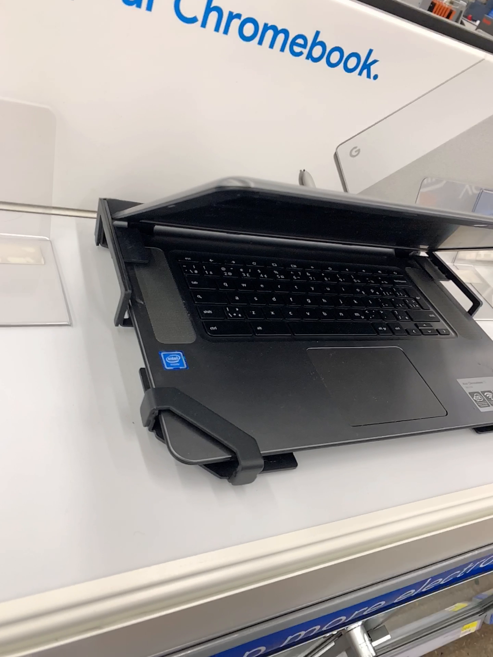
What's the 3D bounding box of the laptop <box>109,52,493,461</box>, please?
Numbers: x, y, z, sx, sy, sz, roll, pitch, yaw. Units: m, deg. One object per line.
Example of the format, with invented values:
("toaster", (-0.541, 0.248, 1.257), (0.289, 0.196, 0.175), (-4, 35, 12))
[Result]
("laptop", (0.086, -0.047, 0.338), (0.301, 0.116, 0.194), (0, 46, -28))
